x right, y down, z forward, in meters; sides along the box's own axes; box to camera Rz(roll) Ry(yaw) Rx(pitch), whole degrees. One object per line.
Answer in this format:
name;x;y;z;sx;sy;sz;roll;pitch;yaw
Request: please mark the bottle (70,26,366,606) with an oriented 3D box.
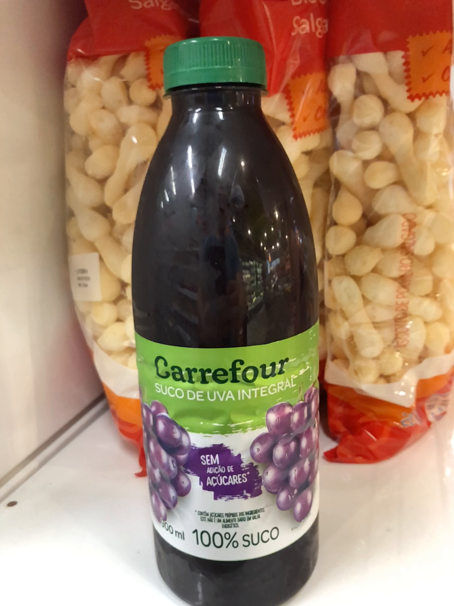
bottle;-0.002;0.015;0.225;0.090;0.229;0.080;-1;15;-1
